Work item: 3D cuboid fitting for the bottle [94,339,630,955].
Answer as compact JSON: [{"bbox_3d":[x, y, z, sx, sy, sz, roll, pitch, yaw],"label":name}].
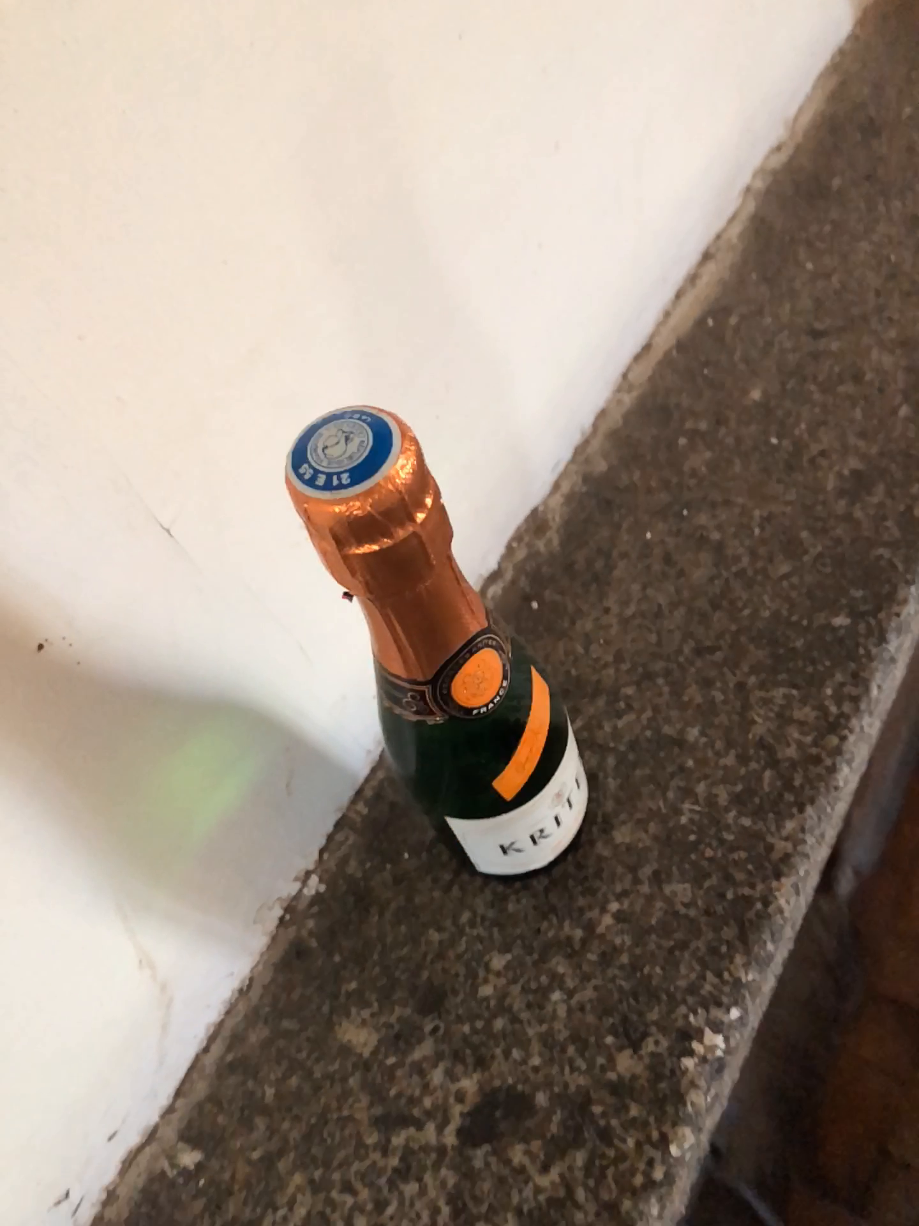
[{"bbox_3d":[-0.008,0.026,0.288,0.070,0.199,0.060,23,67,28],"label":"bottle"}]
